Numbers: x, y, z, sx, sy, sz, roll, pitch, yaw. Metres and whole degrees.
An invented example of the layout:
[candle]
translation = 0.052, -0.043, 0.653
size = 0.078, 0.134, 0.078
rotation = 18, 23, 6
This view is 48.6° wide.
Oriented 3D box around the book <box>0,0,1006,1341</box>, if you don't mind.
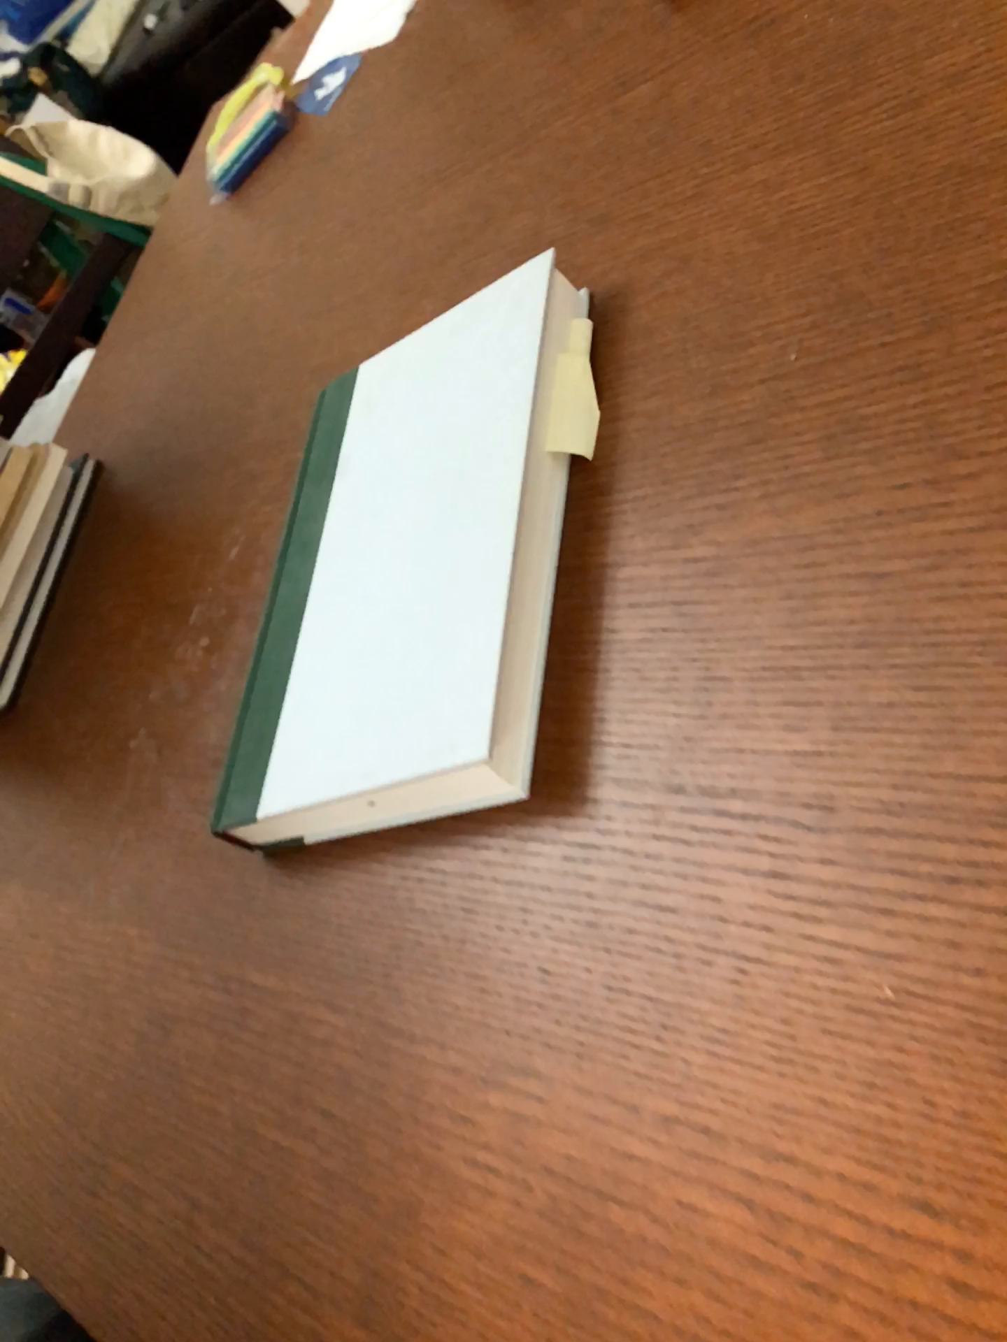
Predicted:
[book]
translation = -0.302, 0.037, 0.094
size = 1.001, 0.995, 1.005
rotation = -35, 44, 27
